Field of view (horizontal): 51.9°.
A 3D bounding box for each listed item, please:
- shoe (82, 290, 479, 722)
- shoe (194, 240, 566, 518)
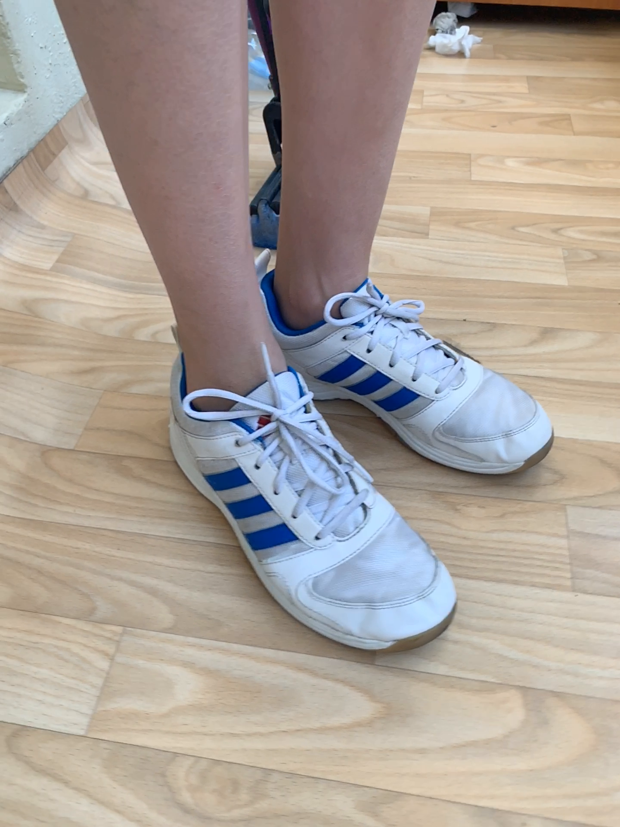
[{"bbox_3d":[-0.031,0.045,0.424,0.100,0.120,0.261,-32,53,-24],"label":"shoe"},{"bbox_3d":[0.046,-0.038,0.506,0.261,0.090,0.100,26,53,24],"label":"shoe"}]
